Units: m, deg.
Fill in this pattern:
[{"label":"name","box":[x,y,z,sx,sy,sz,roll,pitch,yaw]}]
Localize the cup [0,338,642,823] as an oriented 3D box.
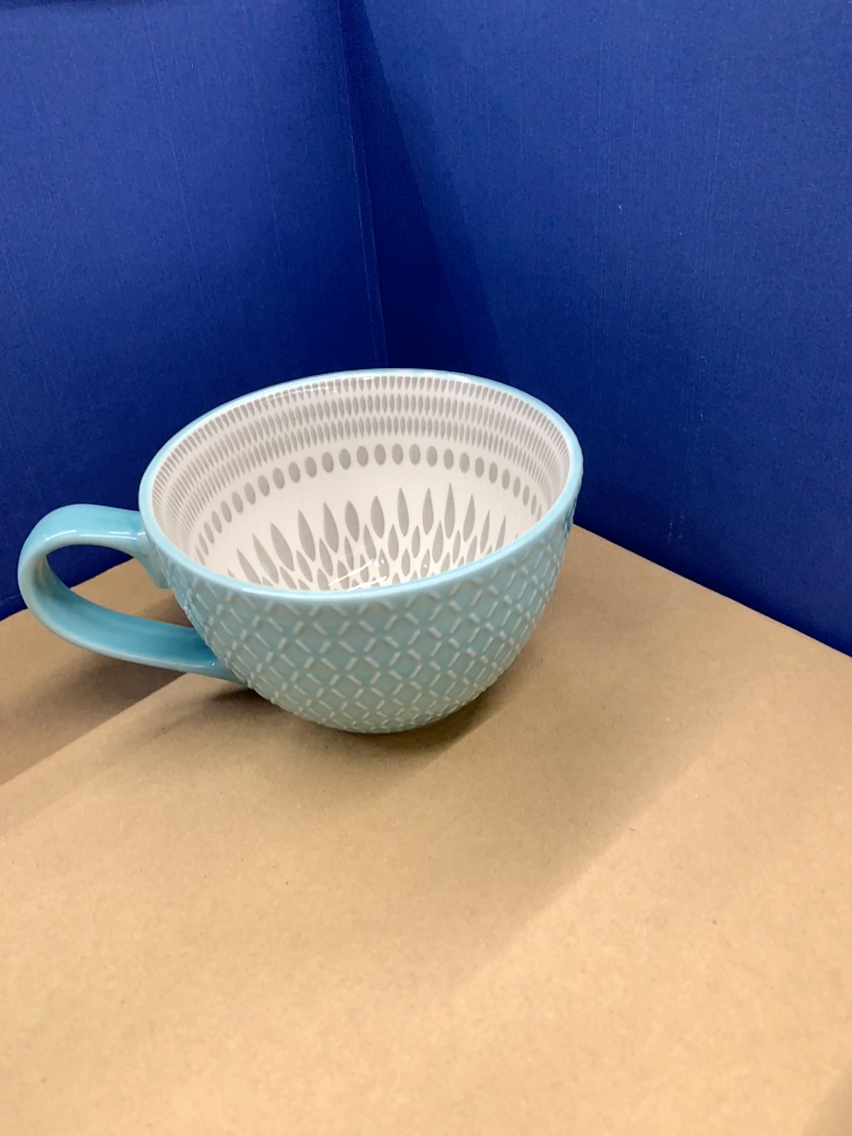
[{"label":"cup","box":[-0.034,-0.004,0.243,0.152,0.059,0.113,-7,39,-3]}]
